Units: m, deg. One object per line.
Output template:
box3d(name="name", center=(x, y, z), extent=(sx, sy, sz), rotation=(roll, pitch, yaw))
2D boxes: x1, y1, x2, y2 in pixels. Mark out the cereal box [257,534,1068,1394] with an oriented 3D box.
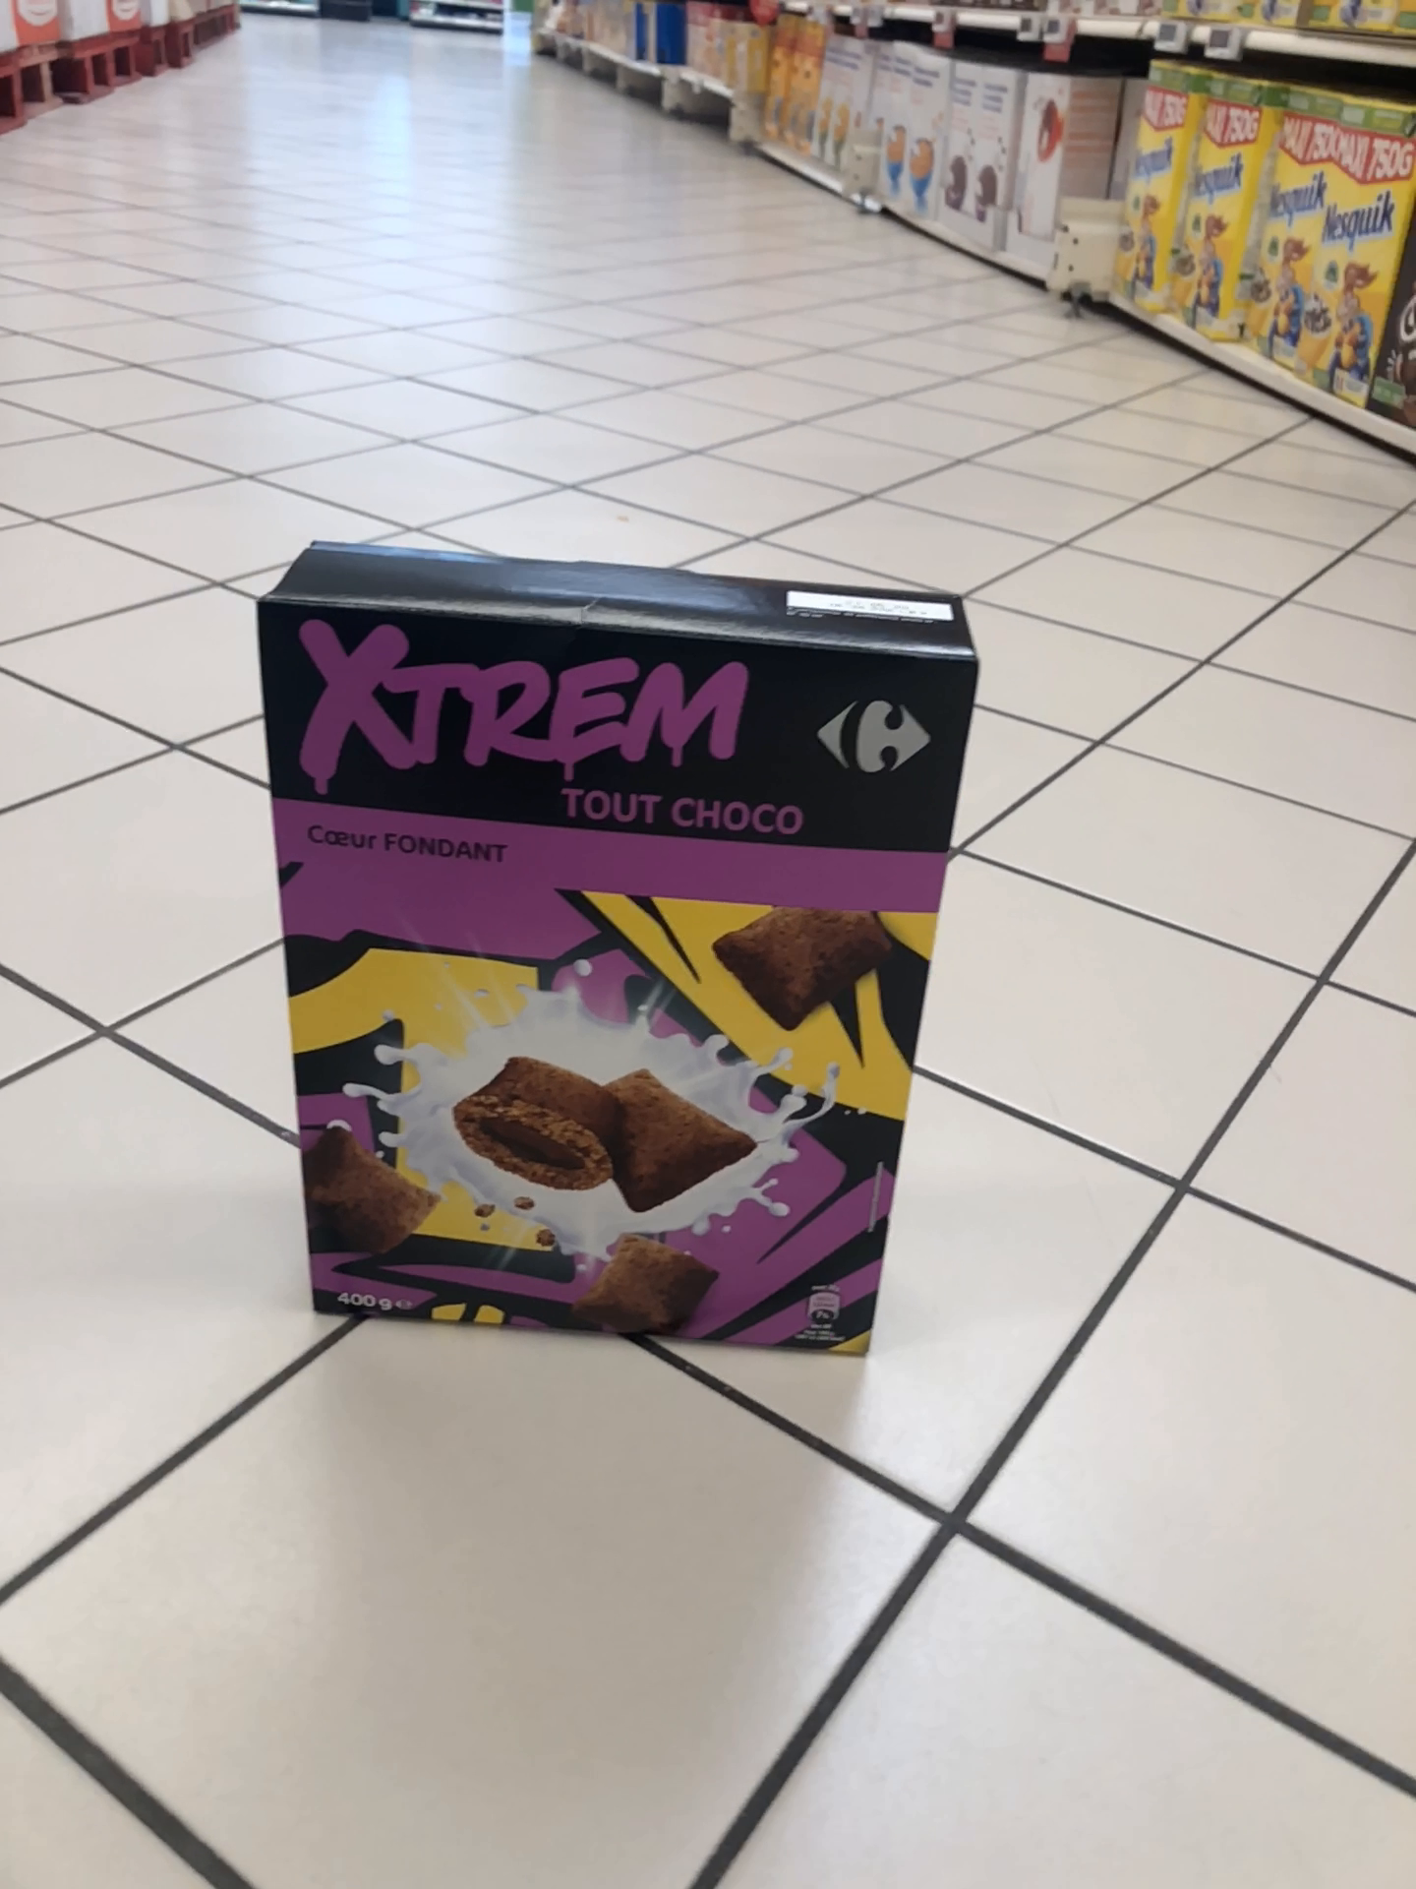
box3d(name="cereal box", center=(-0.018, 0.014, 0.472), extent=(0.200, 0.239, 0.070), rotation=(6, 30, 1))
